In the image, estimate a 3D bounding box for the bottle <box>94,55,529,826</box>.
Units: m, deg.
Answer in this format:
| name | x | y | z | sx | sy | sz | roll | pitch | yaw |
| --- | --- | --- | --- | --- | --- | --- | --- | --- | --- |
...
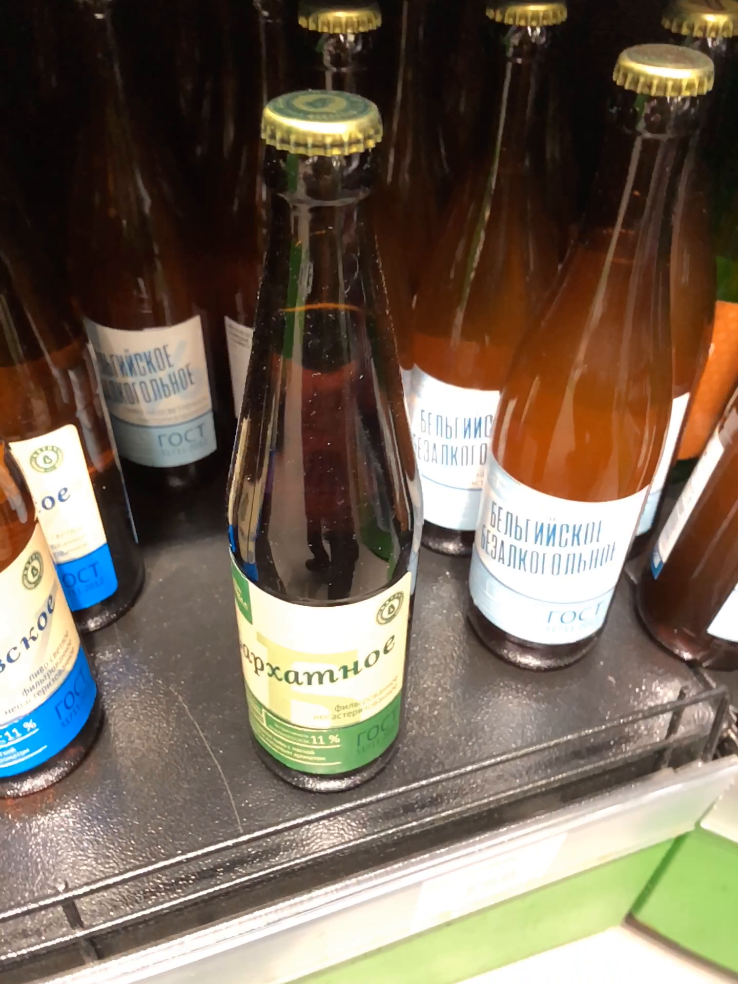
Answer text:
| name | x | y | z | sx | sy | sz | roll | pitch | yaw |
| --- | --- | --- | --- | --- | --- | --- | --- | --- | --- |
| bottle | -0.013 | 0.007 | 0.269 | 0.080 | 0.249 | 0.070 | 13 | 43 | 10 |
